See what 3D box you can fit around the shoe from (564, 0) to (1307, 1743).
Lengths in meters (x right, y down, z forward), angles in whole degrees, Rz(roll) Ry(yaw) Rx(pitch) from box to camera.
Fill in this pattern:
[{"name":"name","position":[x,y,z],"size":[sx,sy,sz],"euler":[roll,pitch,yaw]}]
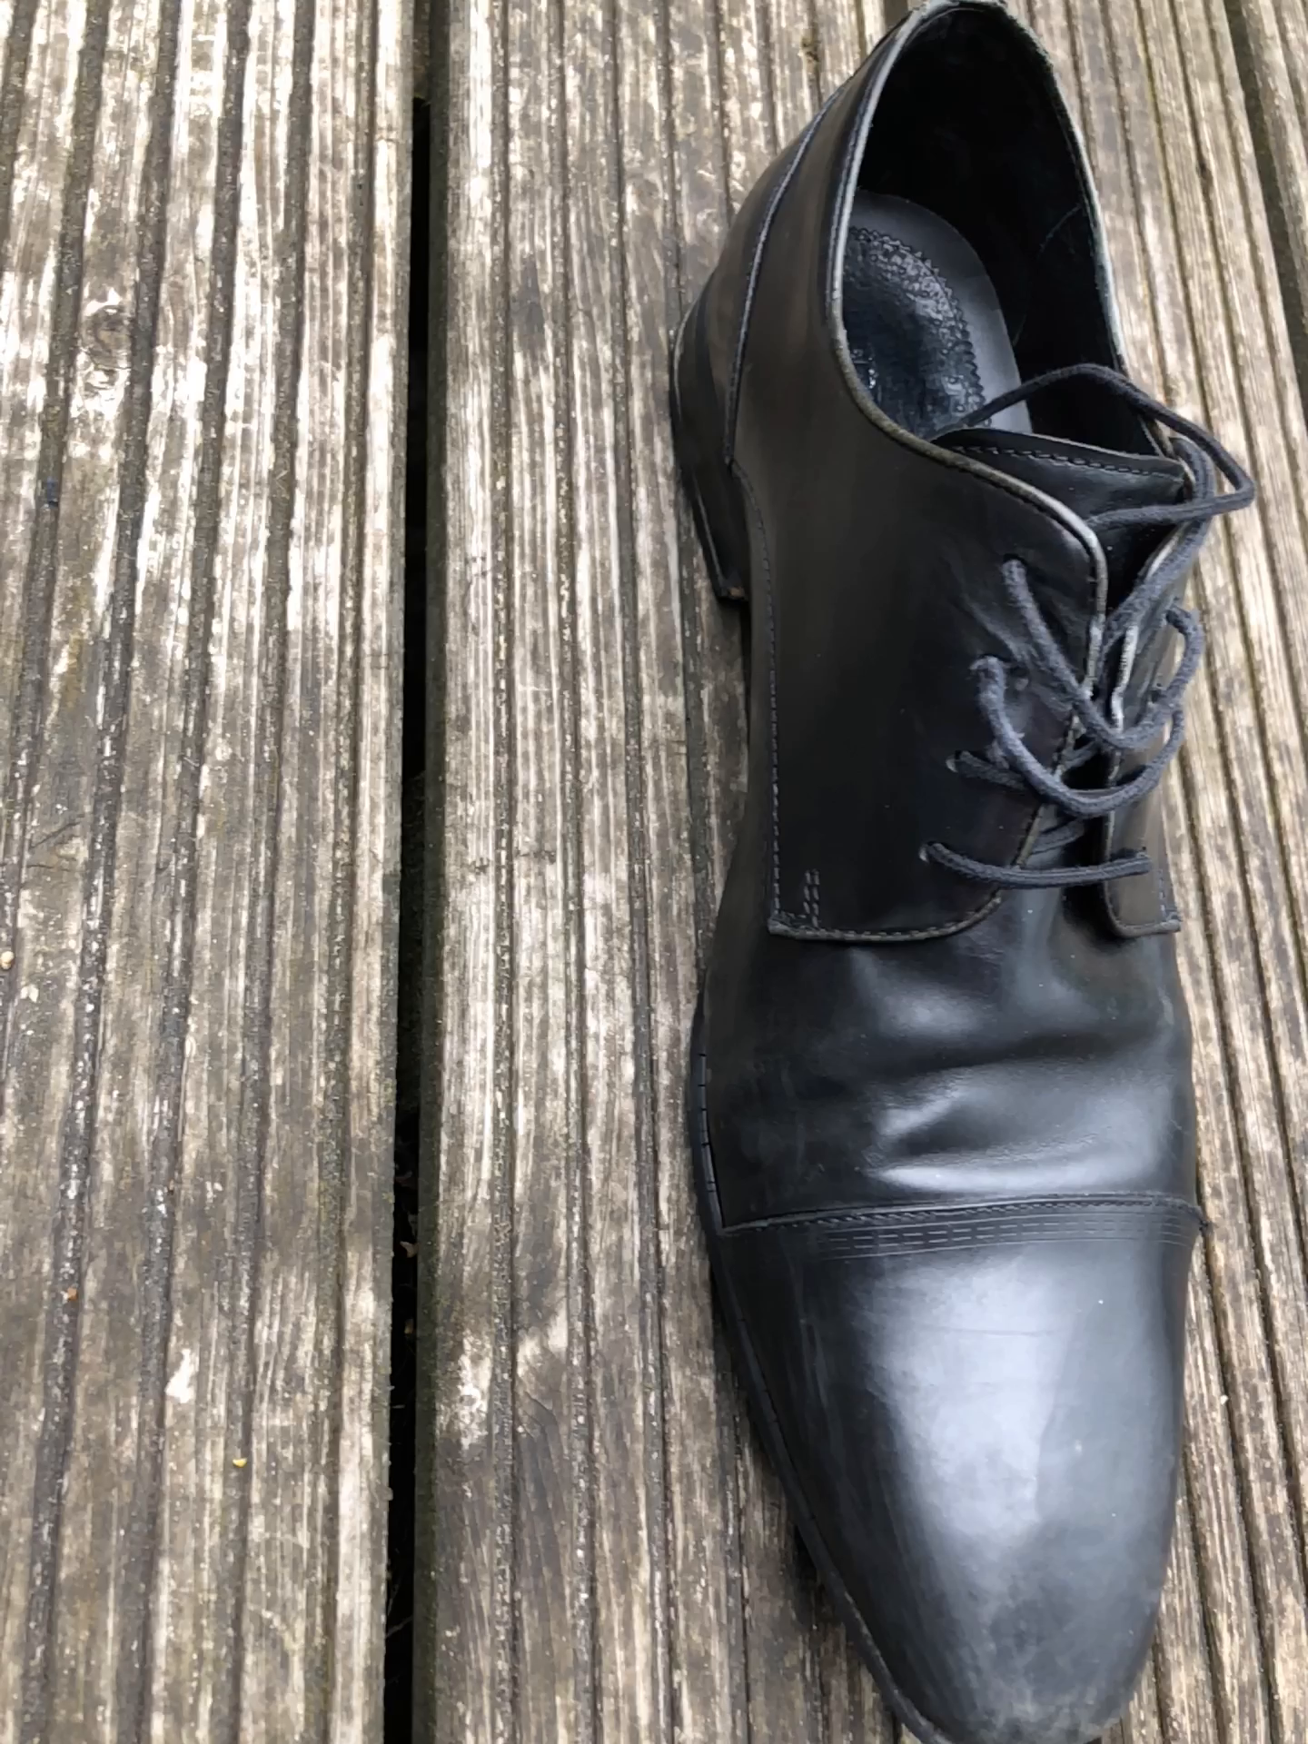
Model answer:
[{"name":"shoe","position":[0.054,-0.015,0.287],"size":[0.090,0.149,0.341],"euler":[3,72,-20]}]
